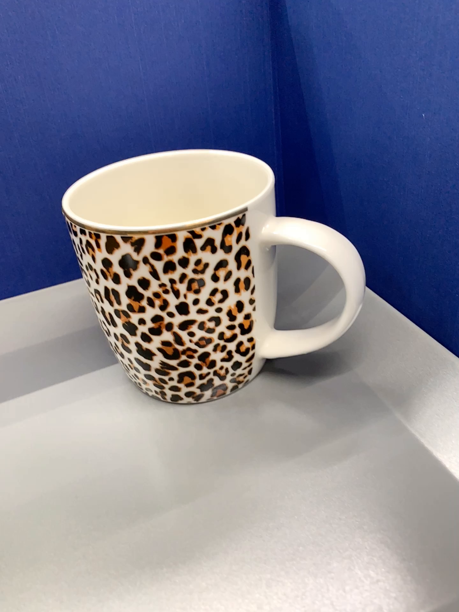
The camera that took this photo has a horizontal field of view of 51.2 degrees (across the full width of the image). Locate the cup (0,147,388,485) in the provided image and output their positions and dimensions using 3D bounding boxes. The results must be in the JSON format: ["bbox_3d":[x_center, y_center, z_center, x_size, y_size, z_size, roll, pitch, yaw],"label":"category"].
[{"bbox_3d":[-0.006,-0.009,0.217,0.126,0.095,0.099,10,35,25],"label":"cup"}]
